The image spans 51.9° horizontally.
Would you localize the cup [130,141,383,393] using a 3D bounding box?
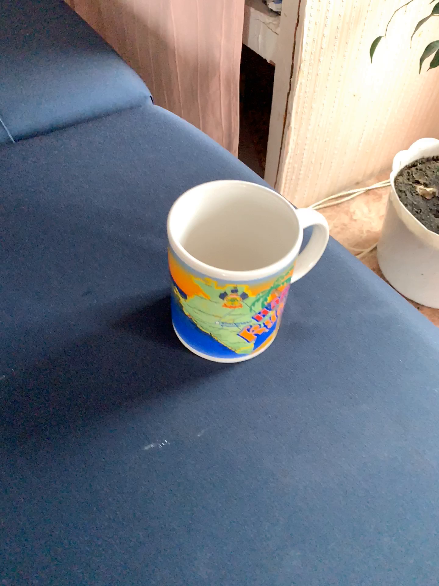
[{"bbox_3d":[0.021,-0.019,0.308,0.120,0.099,0.090,-27,57,-19],"label":"cup"}]
